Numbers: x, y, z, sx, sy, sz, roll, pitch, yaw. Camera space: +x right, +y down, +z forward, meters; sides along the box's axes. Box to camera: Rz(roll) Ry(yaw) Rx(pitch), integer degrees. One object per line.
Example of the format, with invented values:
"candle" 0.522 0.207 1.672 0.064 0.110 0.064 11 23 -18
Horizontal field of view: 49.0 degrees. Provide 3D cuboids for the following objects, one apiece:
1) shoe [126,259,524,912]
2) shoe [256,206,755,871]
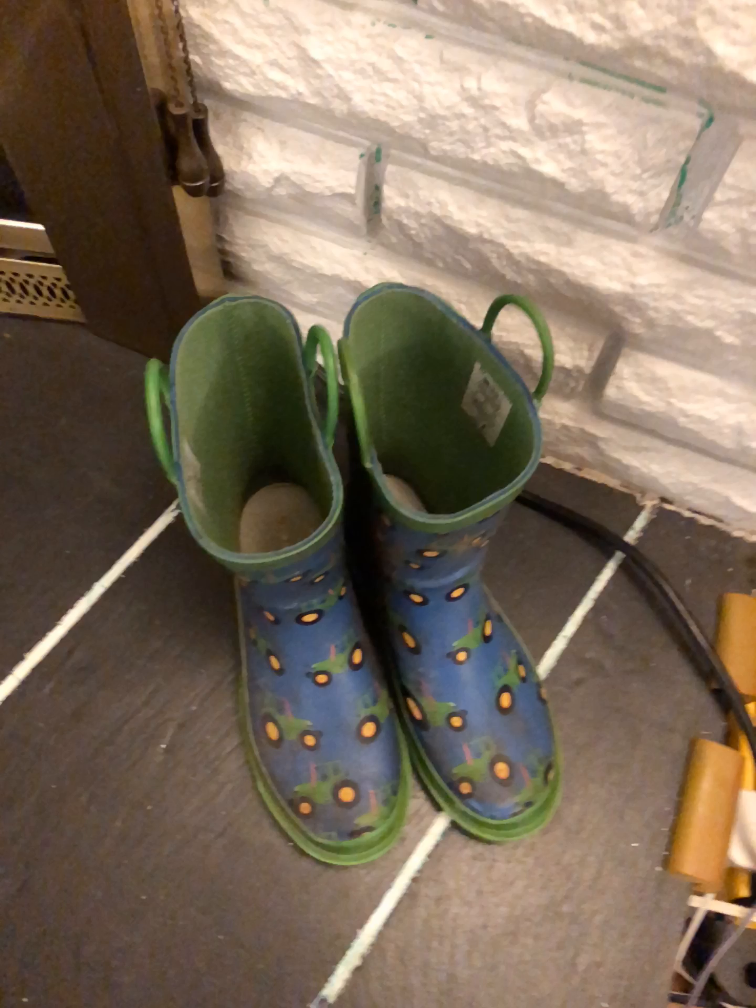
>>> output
"shoe" -0.033 0.058 0.406 0.100 0.239 0.231 -11 66 -7
"shoe" 0.040 0.037 0.408 0.100 0.229 0.241 -21 68 -12
